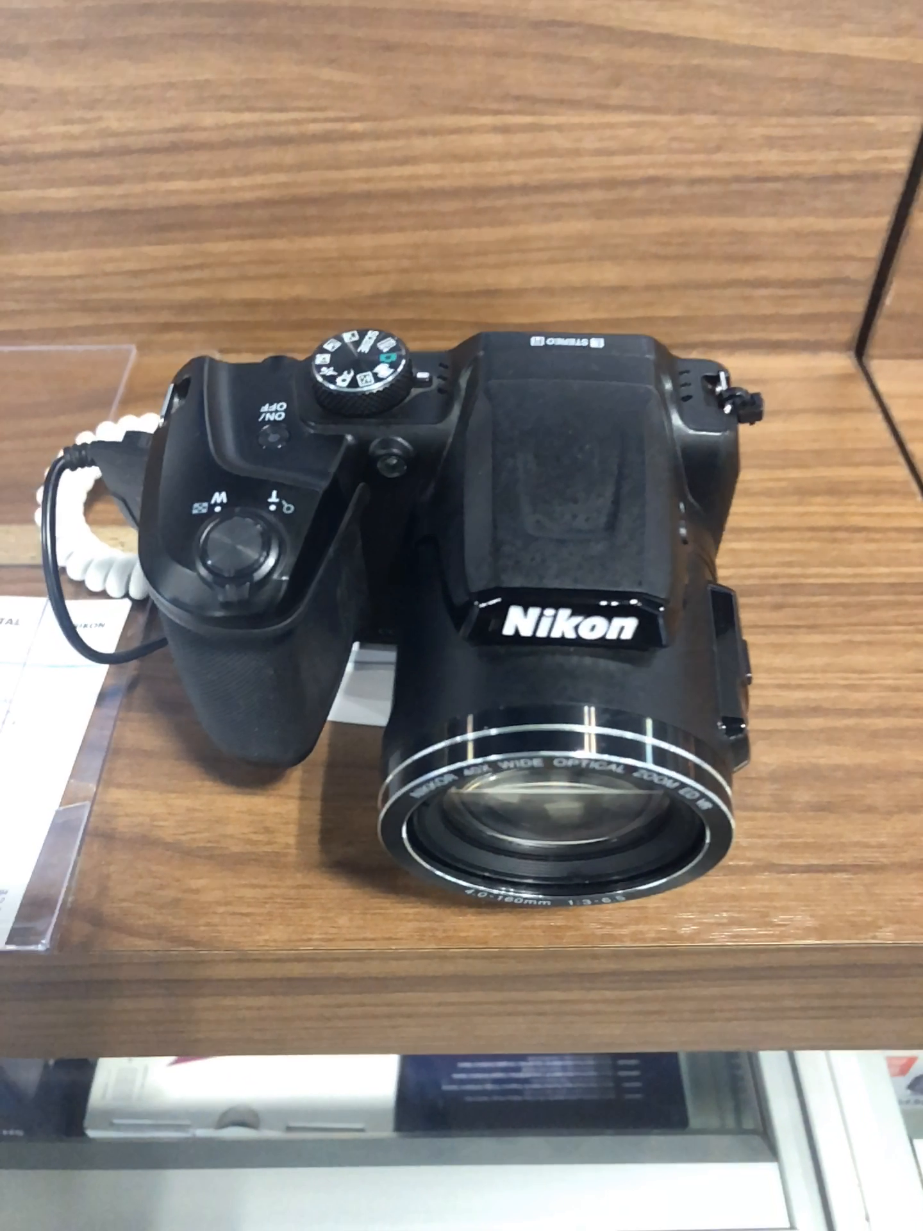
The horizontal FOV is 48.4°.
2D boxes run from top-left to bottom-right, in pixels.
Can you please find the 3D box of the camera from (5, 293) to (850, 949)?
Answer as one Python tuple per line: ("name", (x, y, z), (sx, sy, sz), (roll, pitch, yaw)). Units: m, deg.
("camera", (-0.005, -0.001, 0.195), (0.110, 0.079, 0.096), (0, 45, 0))
